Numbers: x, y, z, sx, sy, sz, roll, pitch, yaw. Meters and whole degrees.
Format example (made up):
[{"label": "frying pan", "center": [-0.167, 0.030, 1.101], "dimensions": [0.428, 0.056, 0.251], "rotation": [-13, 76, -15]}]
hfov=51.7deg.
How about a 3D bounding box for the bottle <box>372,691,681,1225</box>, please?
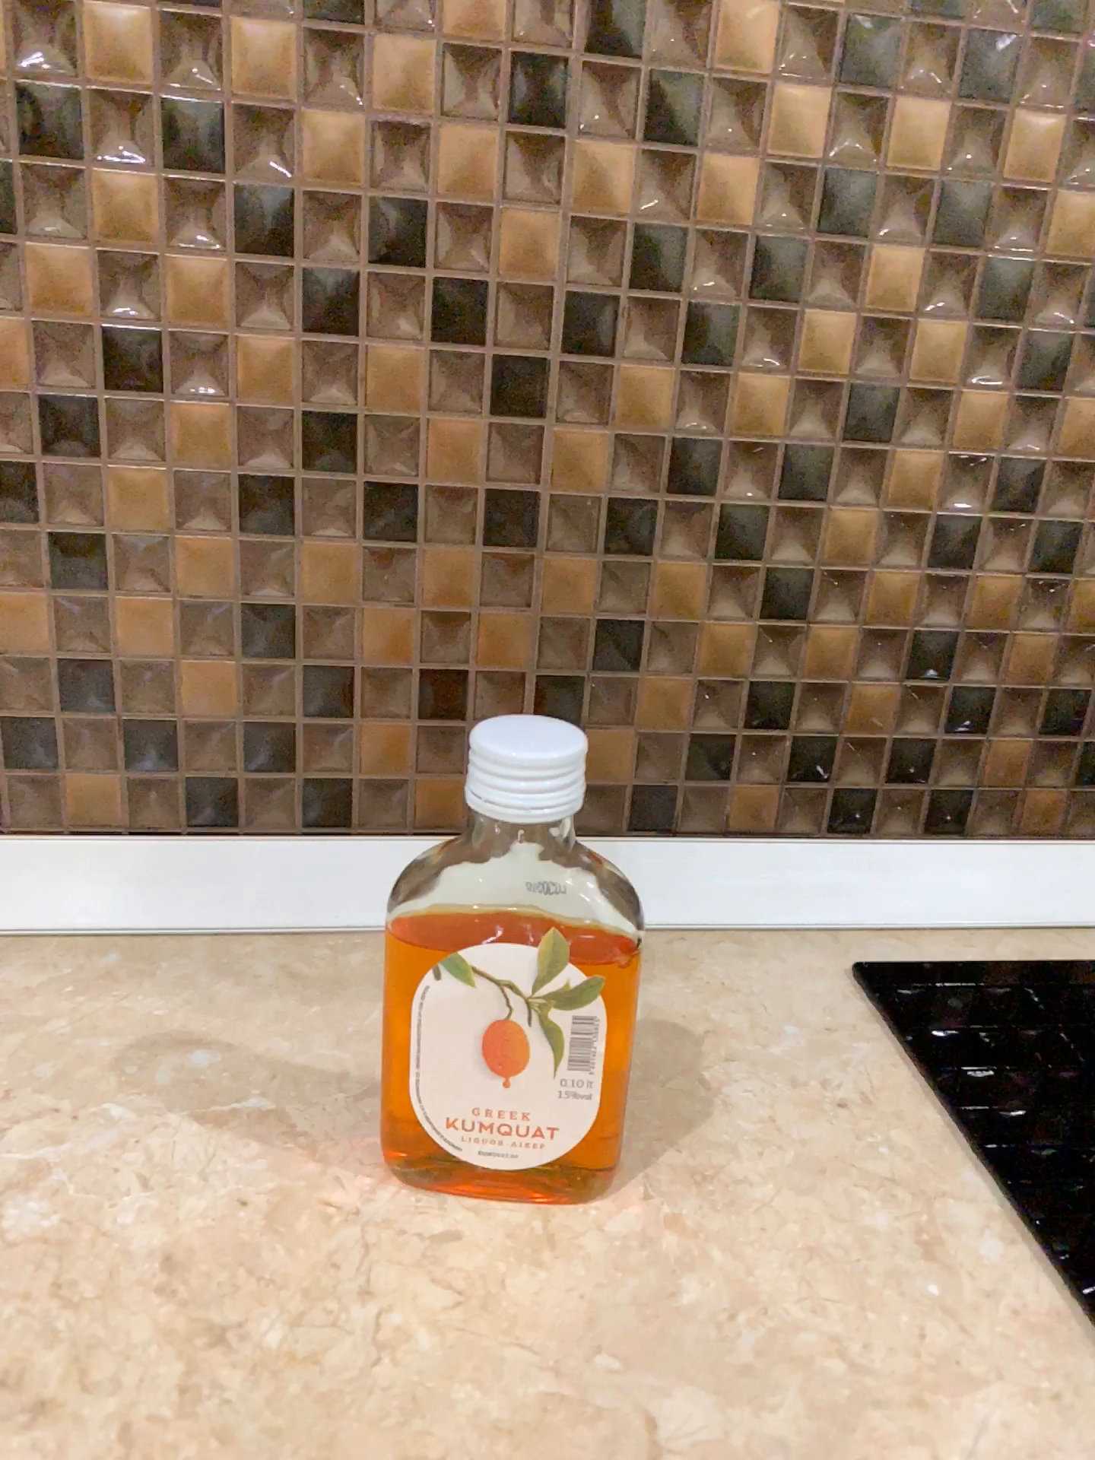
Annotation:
[{"label": "bottle", "center": [-0.007, 0.062, 0.307], "dimensions": [0.070, 0.133, 0.040], "rotation": [6, 20, 3]}]
